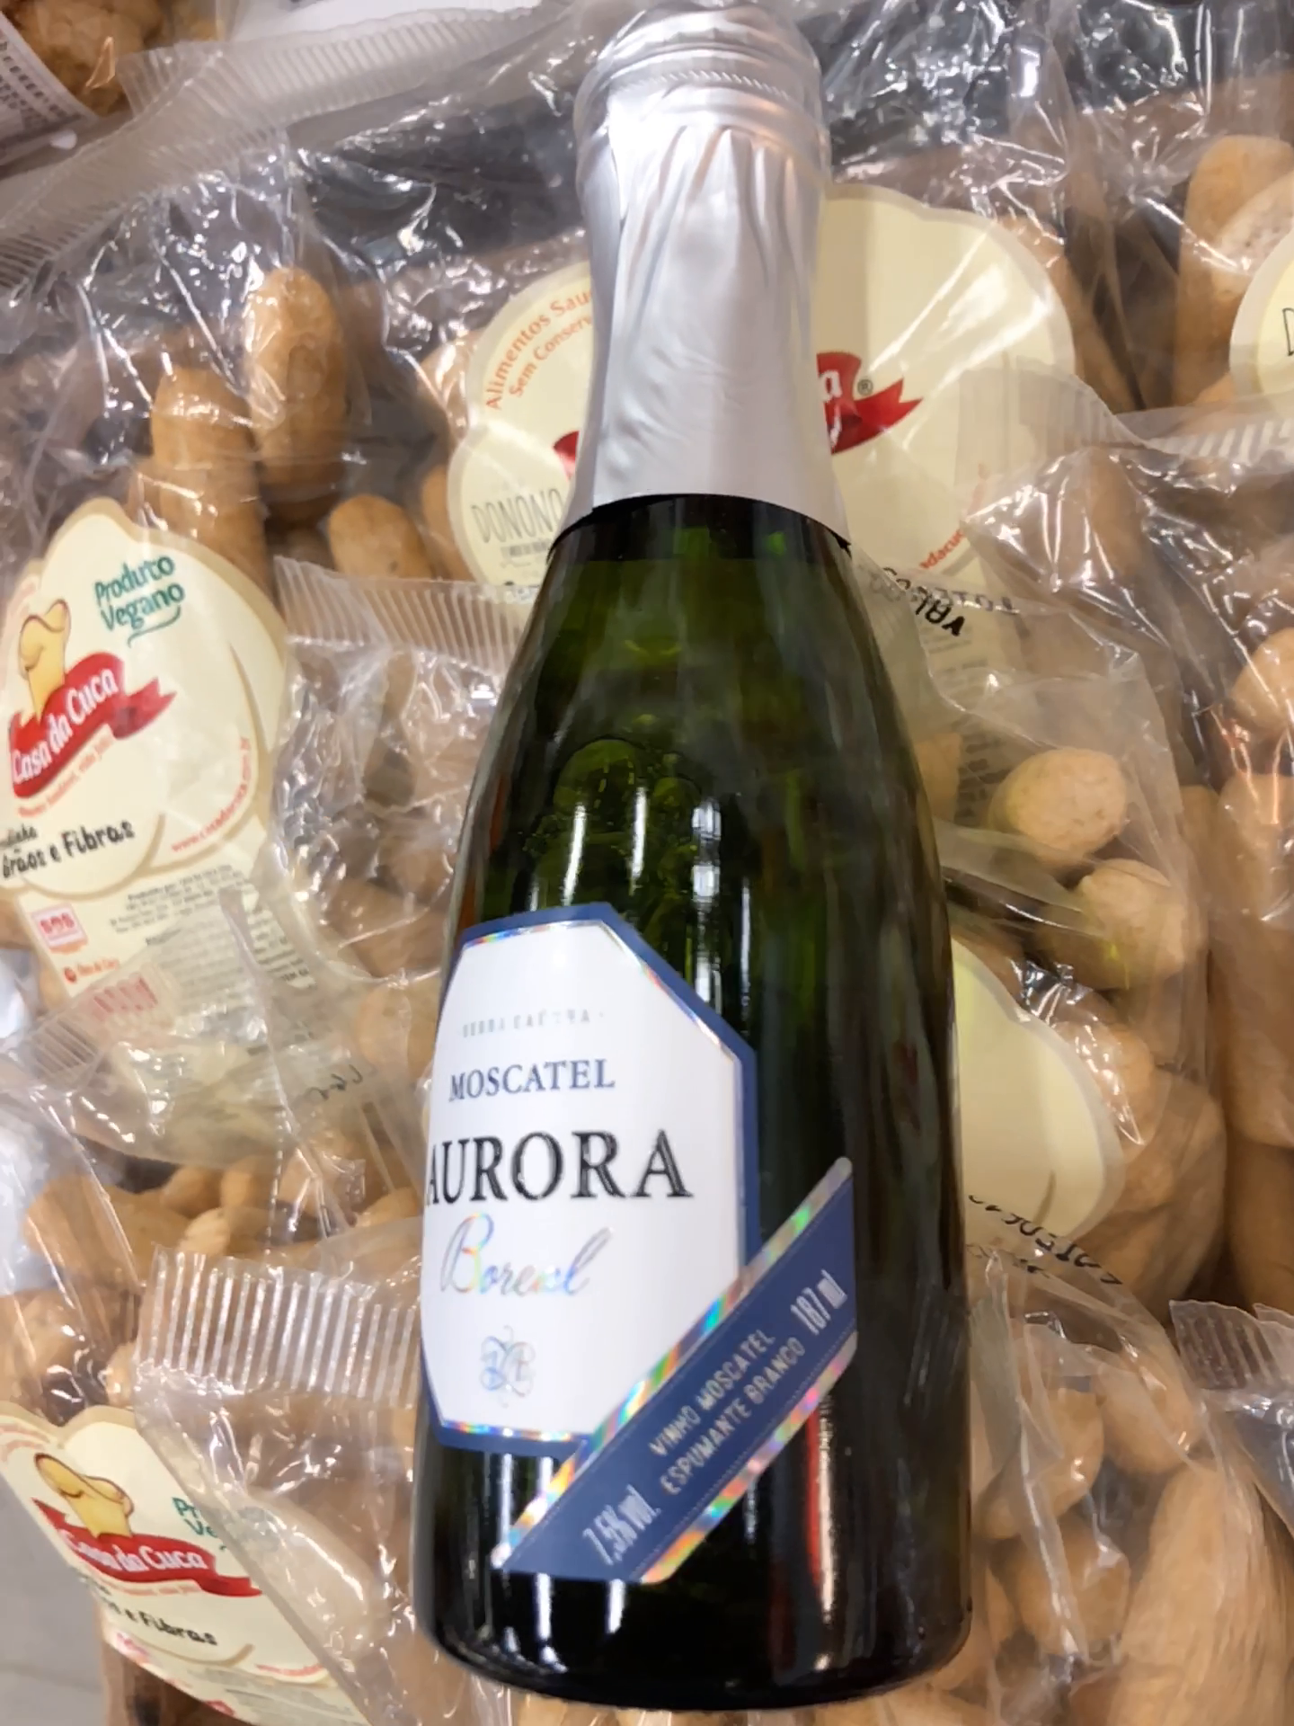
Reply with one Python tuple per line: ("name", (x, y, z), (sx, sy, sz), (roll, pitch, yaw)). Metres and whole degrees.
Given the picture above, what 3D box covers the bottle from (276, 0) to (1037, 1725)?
("bottle", (0.003, -0.012, 0.158), (0.060, 0.050, 0.200), (-4, 80, 21))
